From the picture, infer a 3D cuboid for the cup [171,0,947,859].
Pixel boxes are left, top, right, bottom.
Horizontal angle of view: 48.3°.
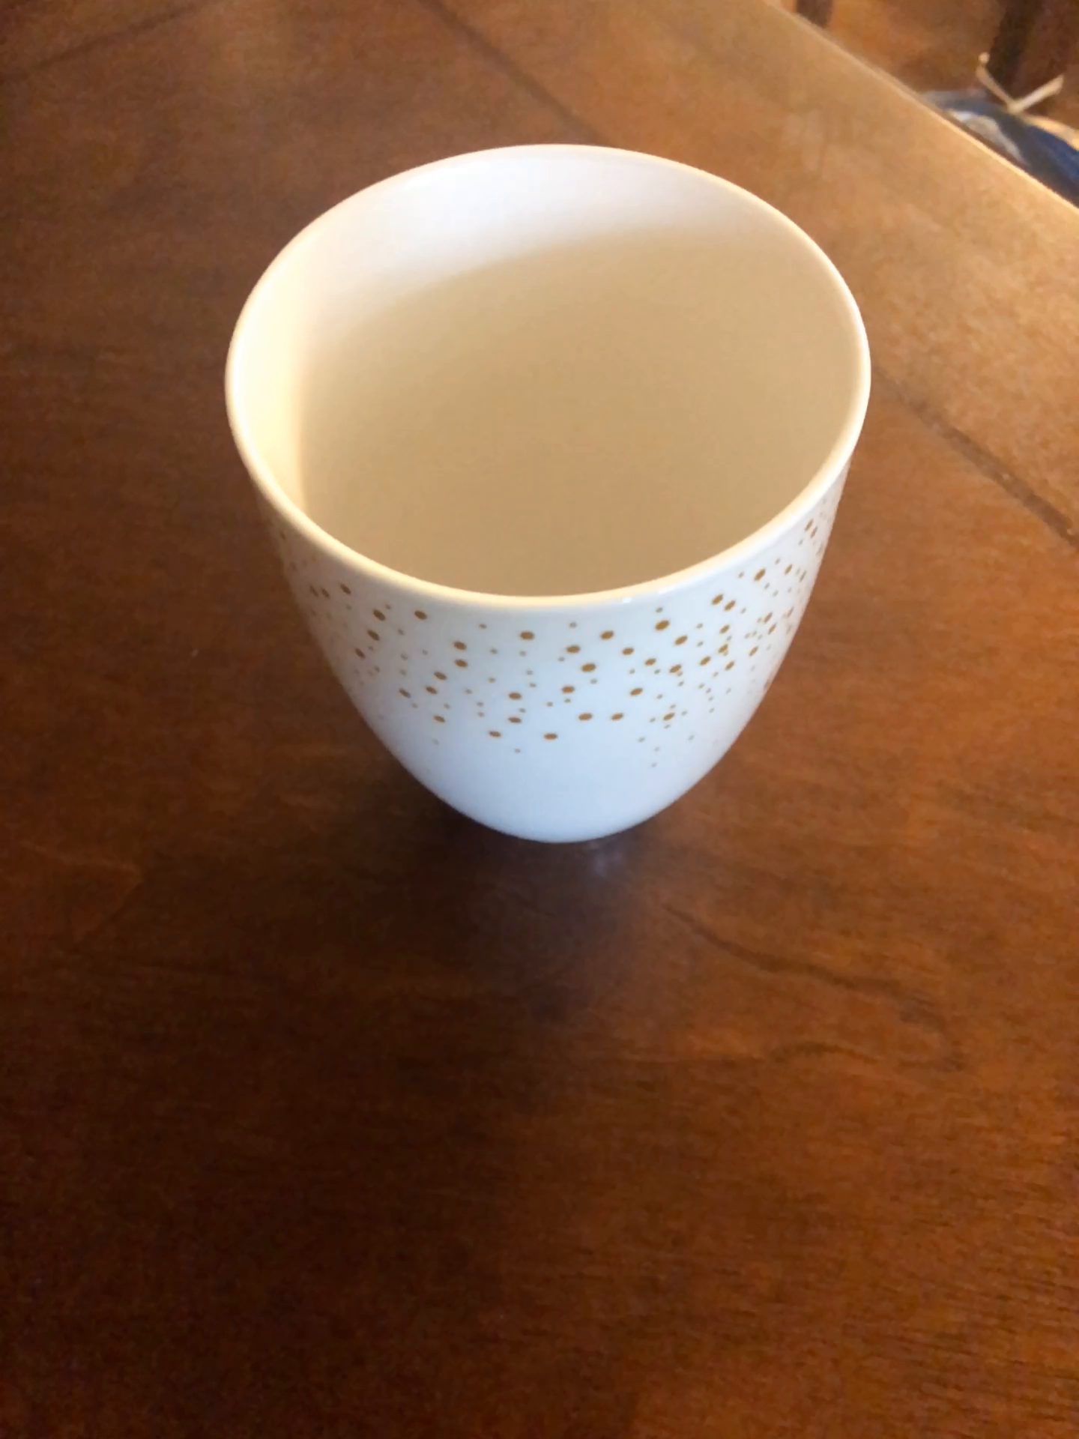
[{"bbox_3d":[0.005,-0.058,0.234,0.100,0.100,0.141,0,59,2],"label":"cup"}]
